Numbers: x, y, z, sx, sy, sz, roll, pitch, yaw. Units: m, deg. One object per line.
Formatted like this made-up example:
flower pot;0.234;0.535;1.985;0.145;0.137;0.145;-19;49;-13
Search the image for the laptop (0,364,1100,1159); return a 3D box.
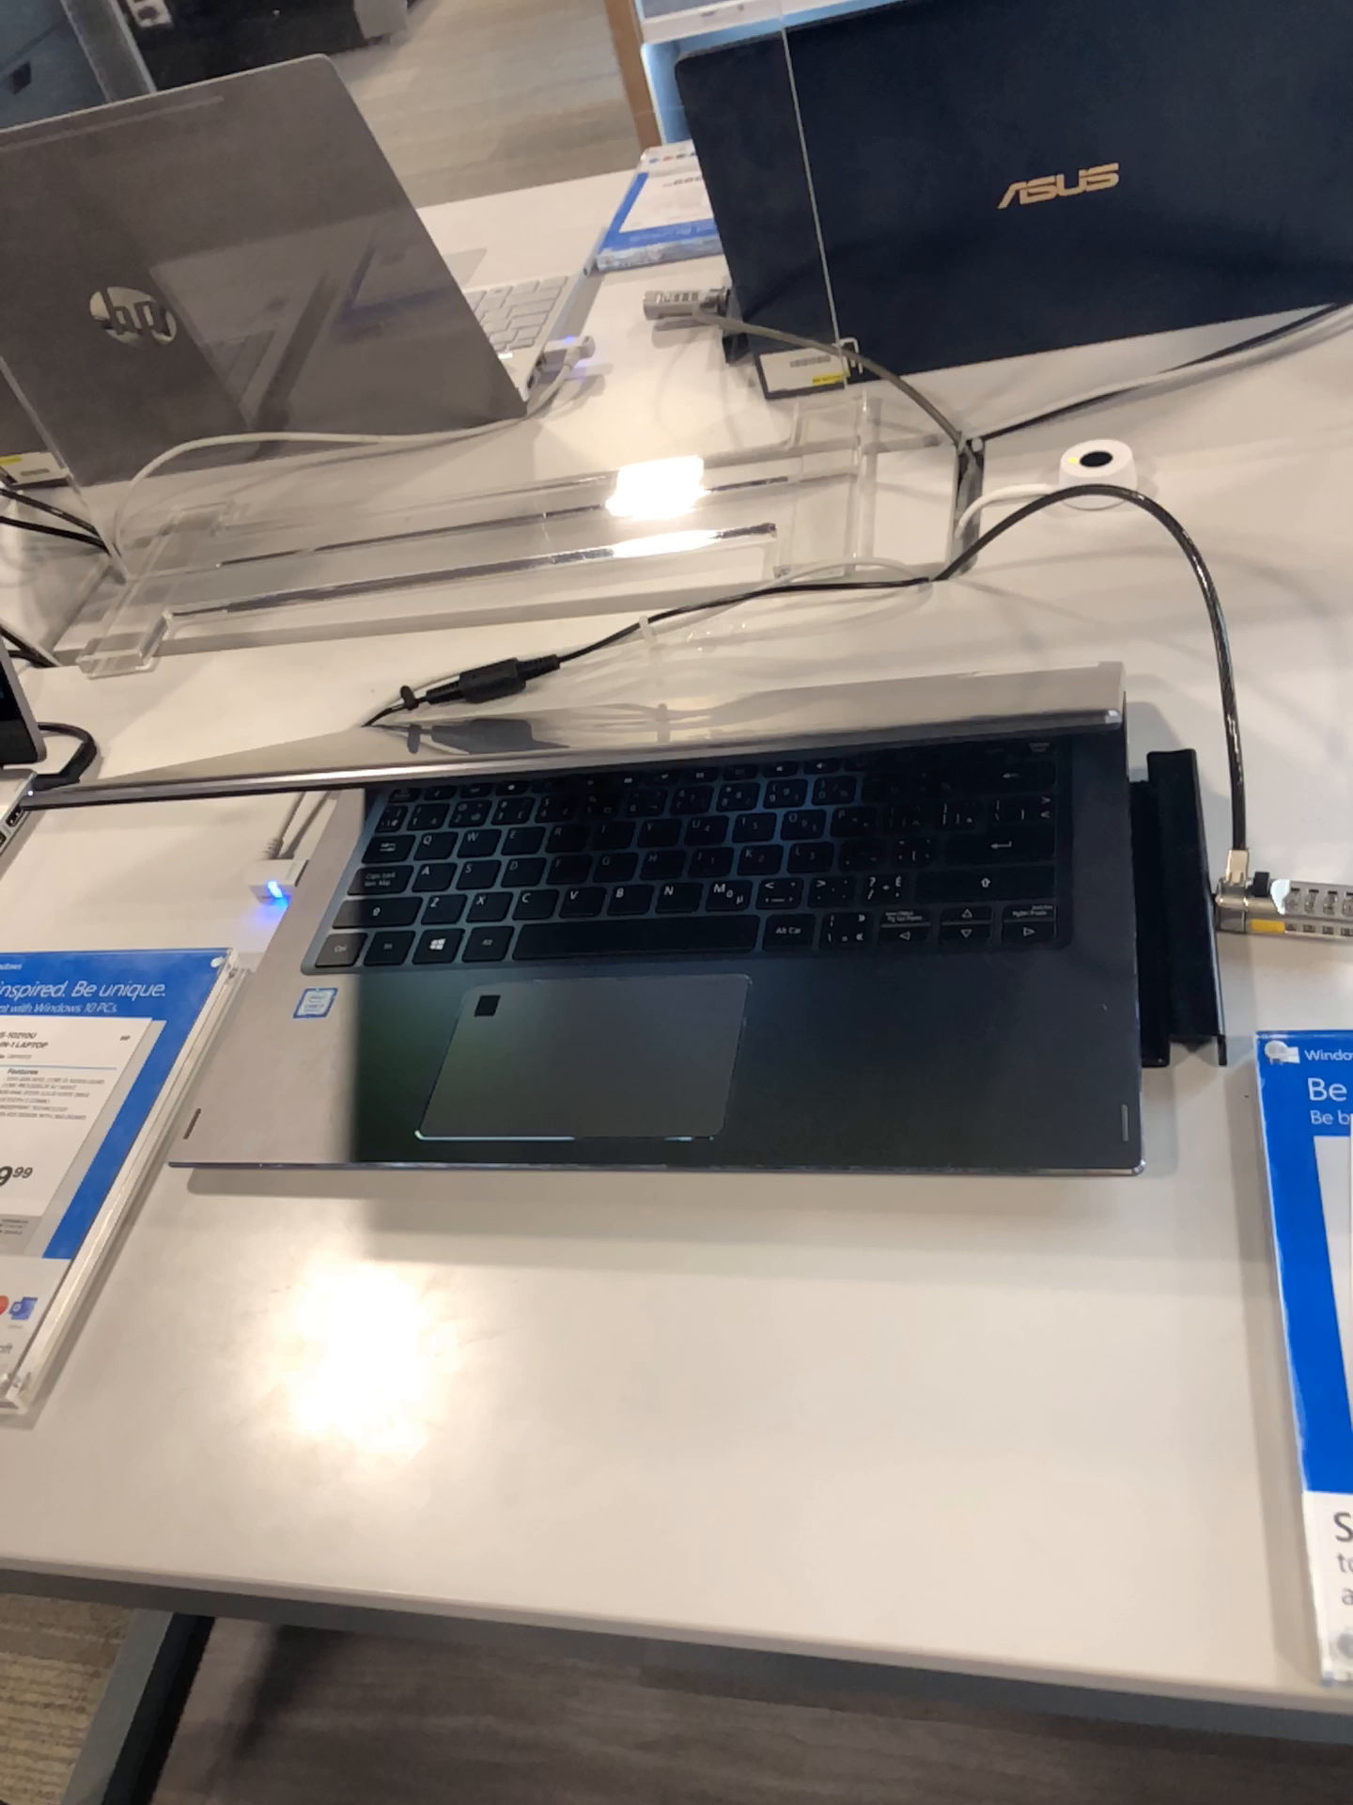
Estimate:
laptop;-0.023;-0.042;0.480;0.301;0.123;0.212;-3;46;17
